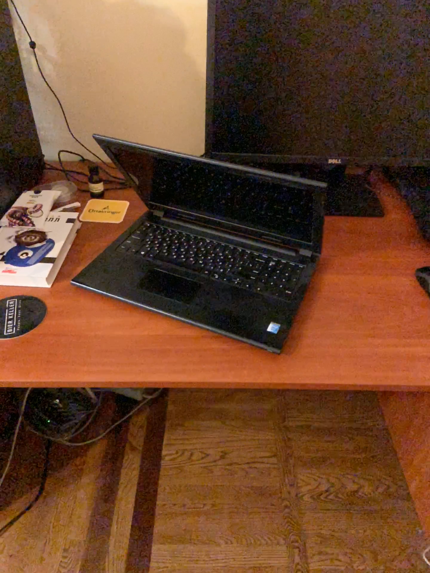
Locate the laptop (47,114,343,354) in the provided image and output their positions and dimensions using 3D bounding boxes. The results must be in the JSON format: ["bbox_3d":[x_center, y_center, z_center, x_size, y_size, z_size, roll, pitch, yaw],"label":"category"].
[{"bbox_3d":[-0.022,-0.106,0.717,0.373,0.202,0.247,17,44,16],"label":"laptop"}]
